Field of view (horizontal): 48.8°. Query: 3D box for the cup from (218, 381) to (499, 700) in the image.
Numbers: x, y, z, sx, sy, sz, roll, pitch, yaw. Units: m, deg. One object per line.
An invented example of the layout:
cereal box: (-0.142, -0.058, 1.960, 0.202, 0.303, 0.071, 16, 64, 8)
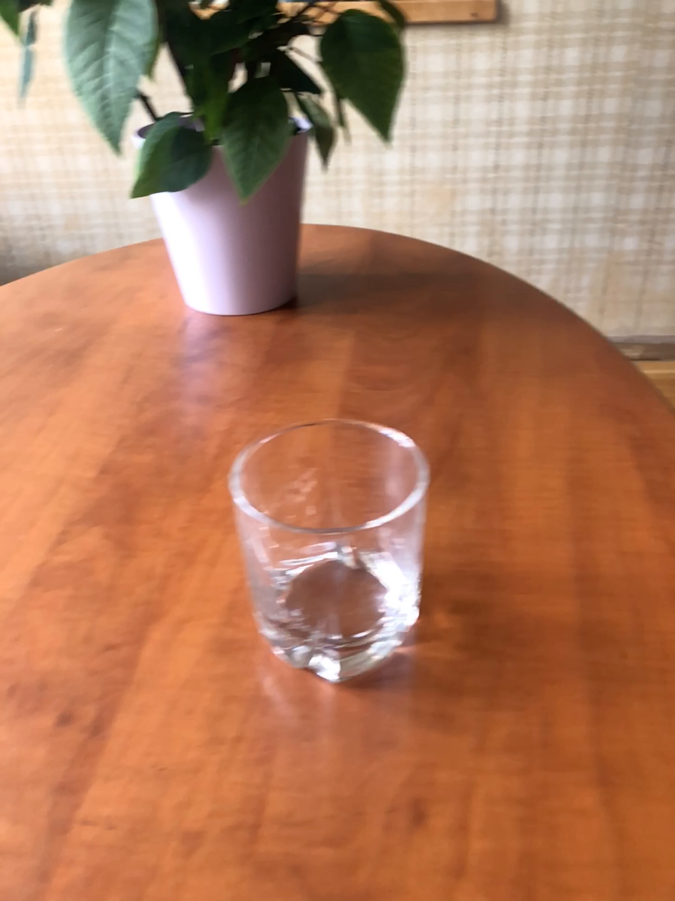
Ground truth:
cup: (0.005, 0.035, 0.326, 0.094, 0.086, 0.089, -1, 33, 1)
